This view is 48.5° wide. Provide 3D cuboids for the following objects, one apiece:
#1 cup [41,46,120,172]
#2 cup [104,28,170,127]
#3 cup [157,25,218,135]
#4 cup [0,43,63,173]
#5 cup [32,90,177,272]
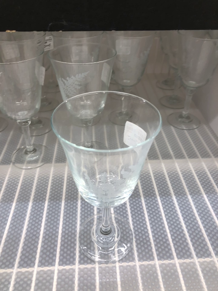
[{"bbox_3d":[-0.032,-0.049,0.349,0.087,0.155,0.090,0,37,0],"label":"cup"},{"bbox_3d":[0.038,-0.113,0.404,0.089,0.136,0.087,0,37,0],"label":"cup"},{"bbox_3d":[0.123,-0.097,0.357,0.069,0.126,0.087,13,39,17],"label":"cup"},{"bbox_3d":[-0.114,-0.051,0.332,0.079,0.146,0.087,0,37,0],"label":"cup"},{"bbox_3d":[-0.003,0.038,0.230,0.089,0.156,0.087,0,37,0],"label":"cup"}]
